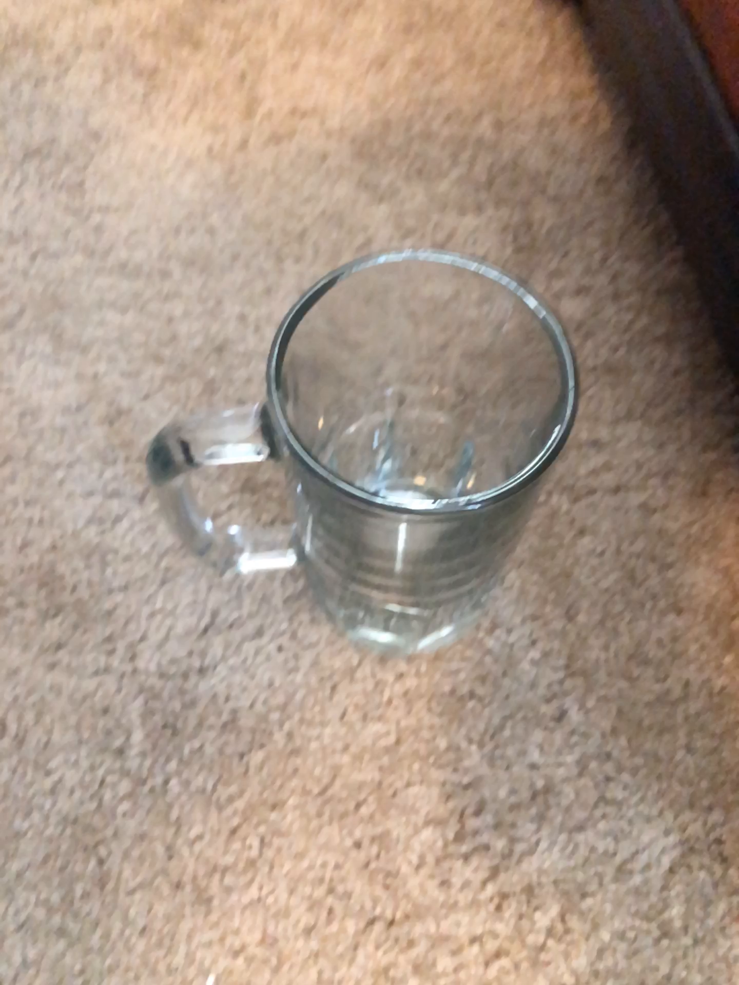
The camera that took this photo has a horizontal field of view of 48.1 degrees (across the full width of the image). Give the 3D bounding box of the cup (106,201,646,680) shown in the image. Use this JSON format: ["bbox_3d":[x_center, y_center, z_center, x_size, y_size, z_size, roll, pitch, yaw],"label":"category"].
[{"bbox_3d":[-0.005,-0.005,0.293,0.133,0.156,0.097,-6,67,-5],"label":"cup"}]
